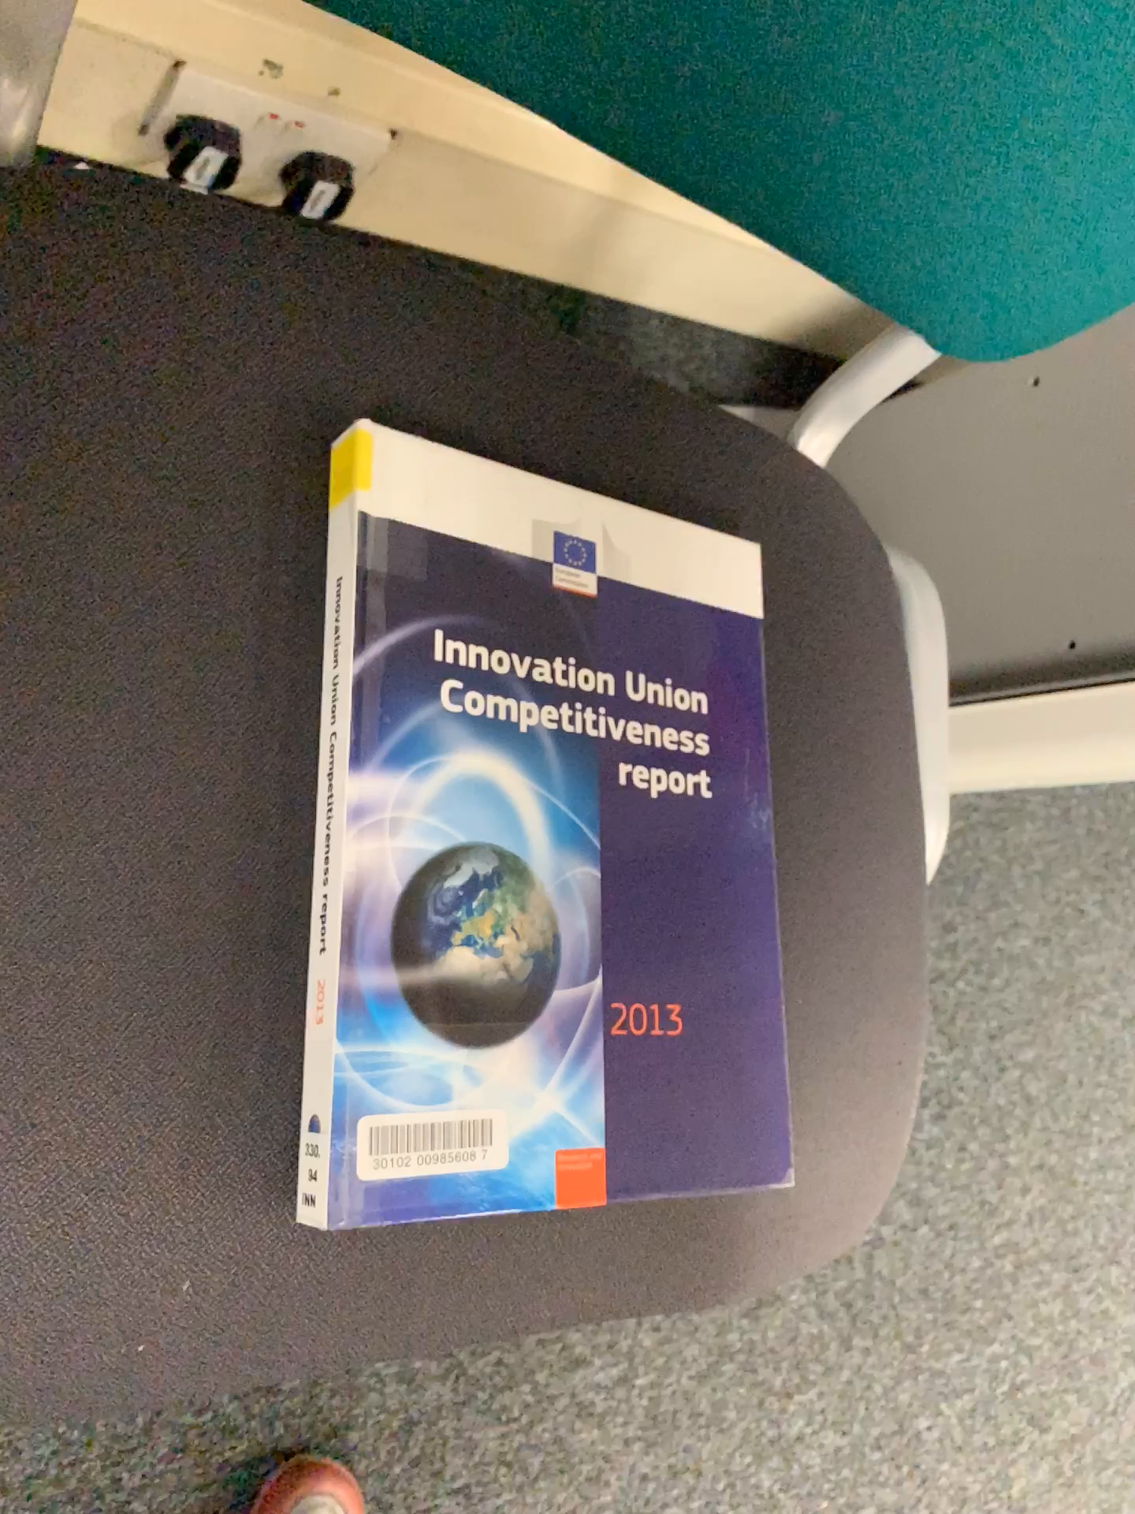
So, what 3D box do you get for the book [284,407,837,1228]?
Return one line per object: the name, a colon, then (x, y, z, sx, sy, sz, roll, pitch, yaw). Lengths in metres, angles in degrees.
book: (0.007, 0.022, 0.410, 0.194, 0.026, 0.250, 9, 72, -31)
